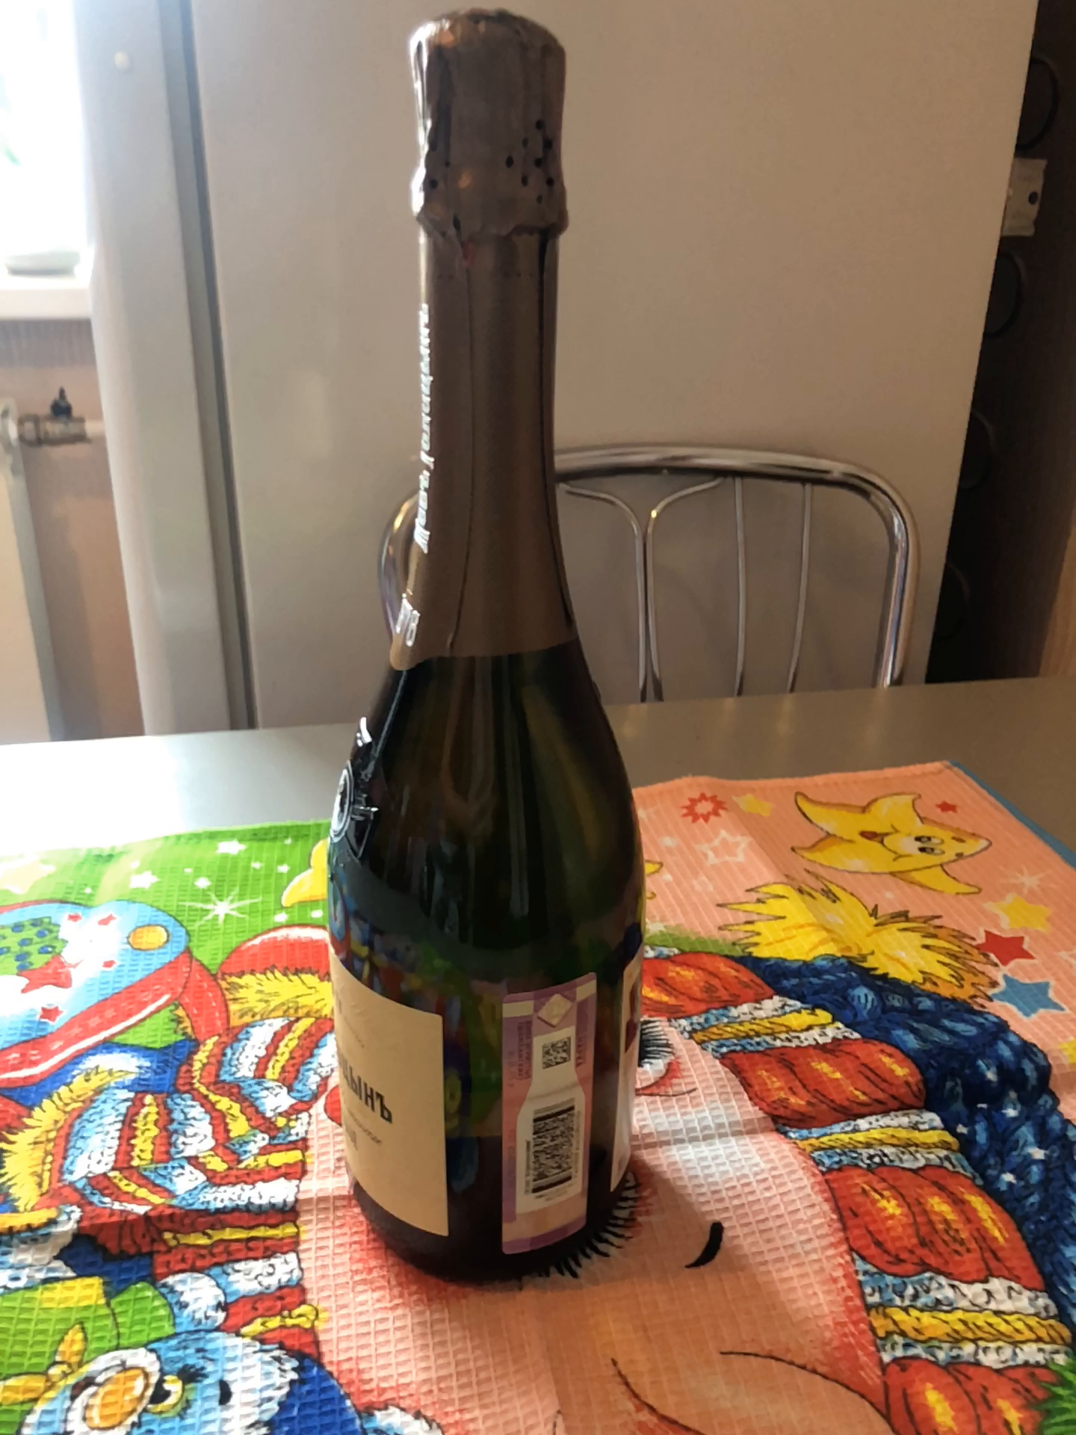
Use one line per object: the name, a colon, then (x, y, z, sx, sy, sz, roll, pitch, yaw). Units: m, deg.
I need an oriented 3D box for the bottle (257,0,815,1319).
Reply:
bottle: (-0.009, -0.002, 0.299, 0.093, 0.308, 0.090, 1, 25, 0)
